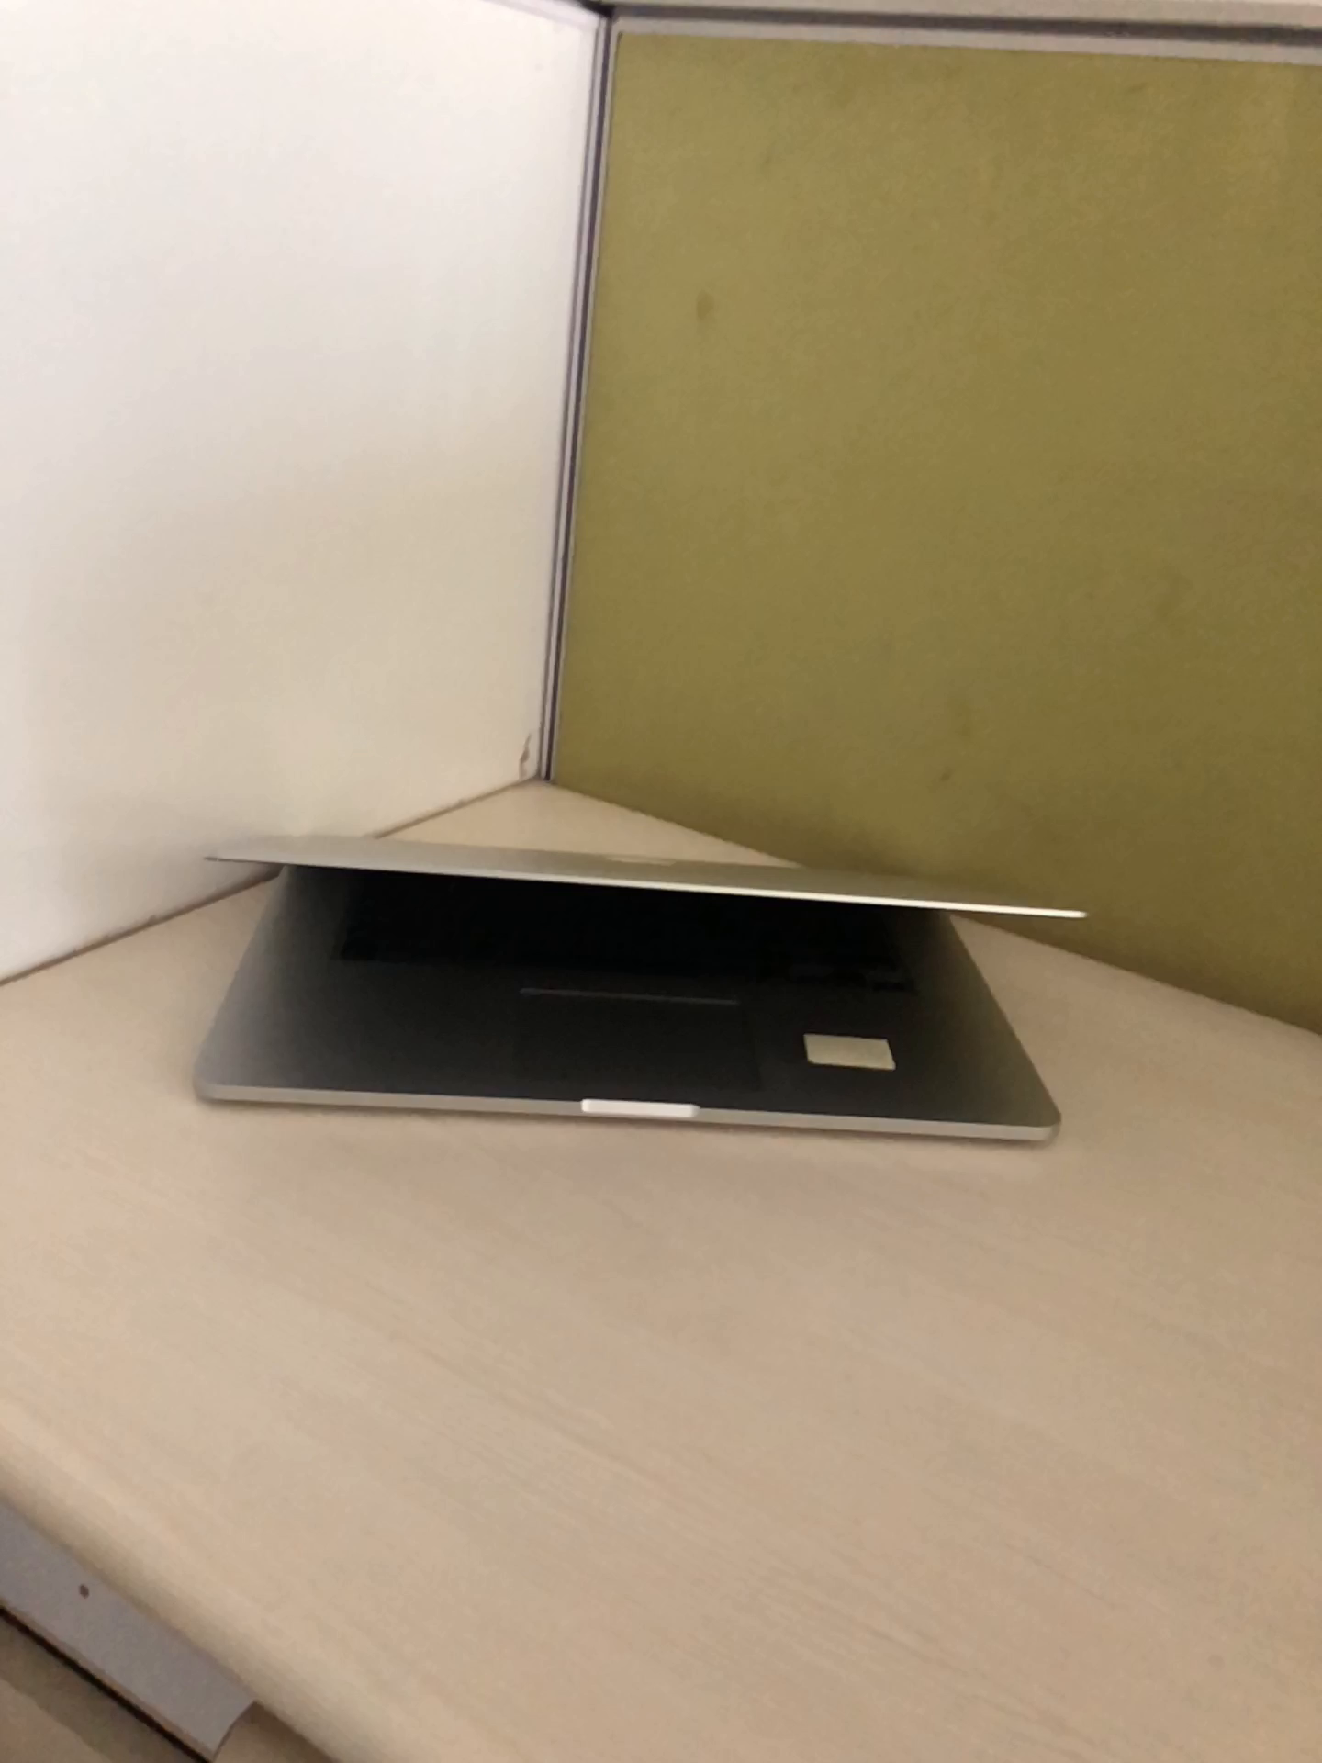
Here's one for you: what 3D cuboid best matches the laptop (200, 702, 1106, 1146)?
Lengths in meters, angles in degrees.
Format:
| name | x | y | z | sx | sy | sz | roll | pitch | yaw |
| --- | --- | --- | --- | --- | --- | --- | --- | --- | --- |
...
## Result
| name | x | y | z | sx | sy | sz | roll | pitch | yaw |
| --- | --- | --- | --- | --- | --- | --- | --- | --- | --- |
| laptop | -0.010 | 0.008 | 0.671 | 0.343 | 0.083 | 0.244 | 4 | 23 | -6 |
